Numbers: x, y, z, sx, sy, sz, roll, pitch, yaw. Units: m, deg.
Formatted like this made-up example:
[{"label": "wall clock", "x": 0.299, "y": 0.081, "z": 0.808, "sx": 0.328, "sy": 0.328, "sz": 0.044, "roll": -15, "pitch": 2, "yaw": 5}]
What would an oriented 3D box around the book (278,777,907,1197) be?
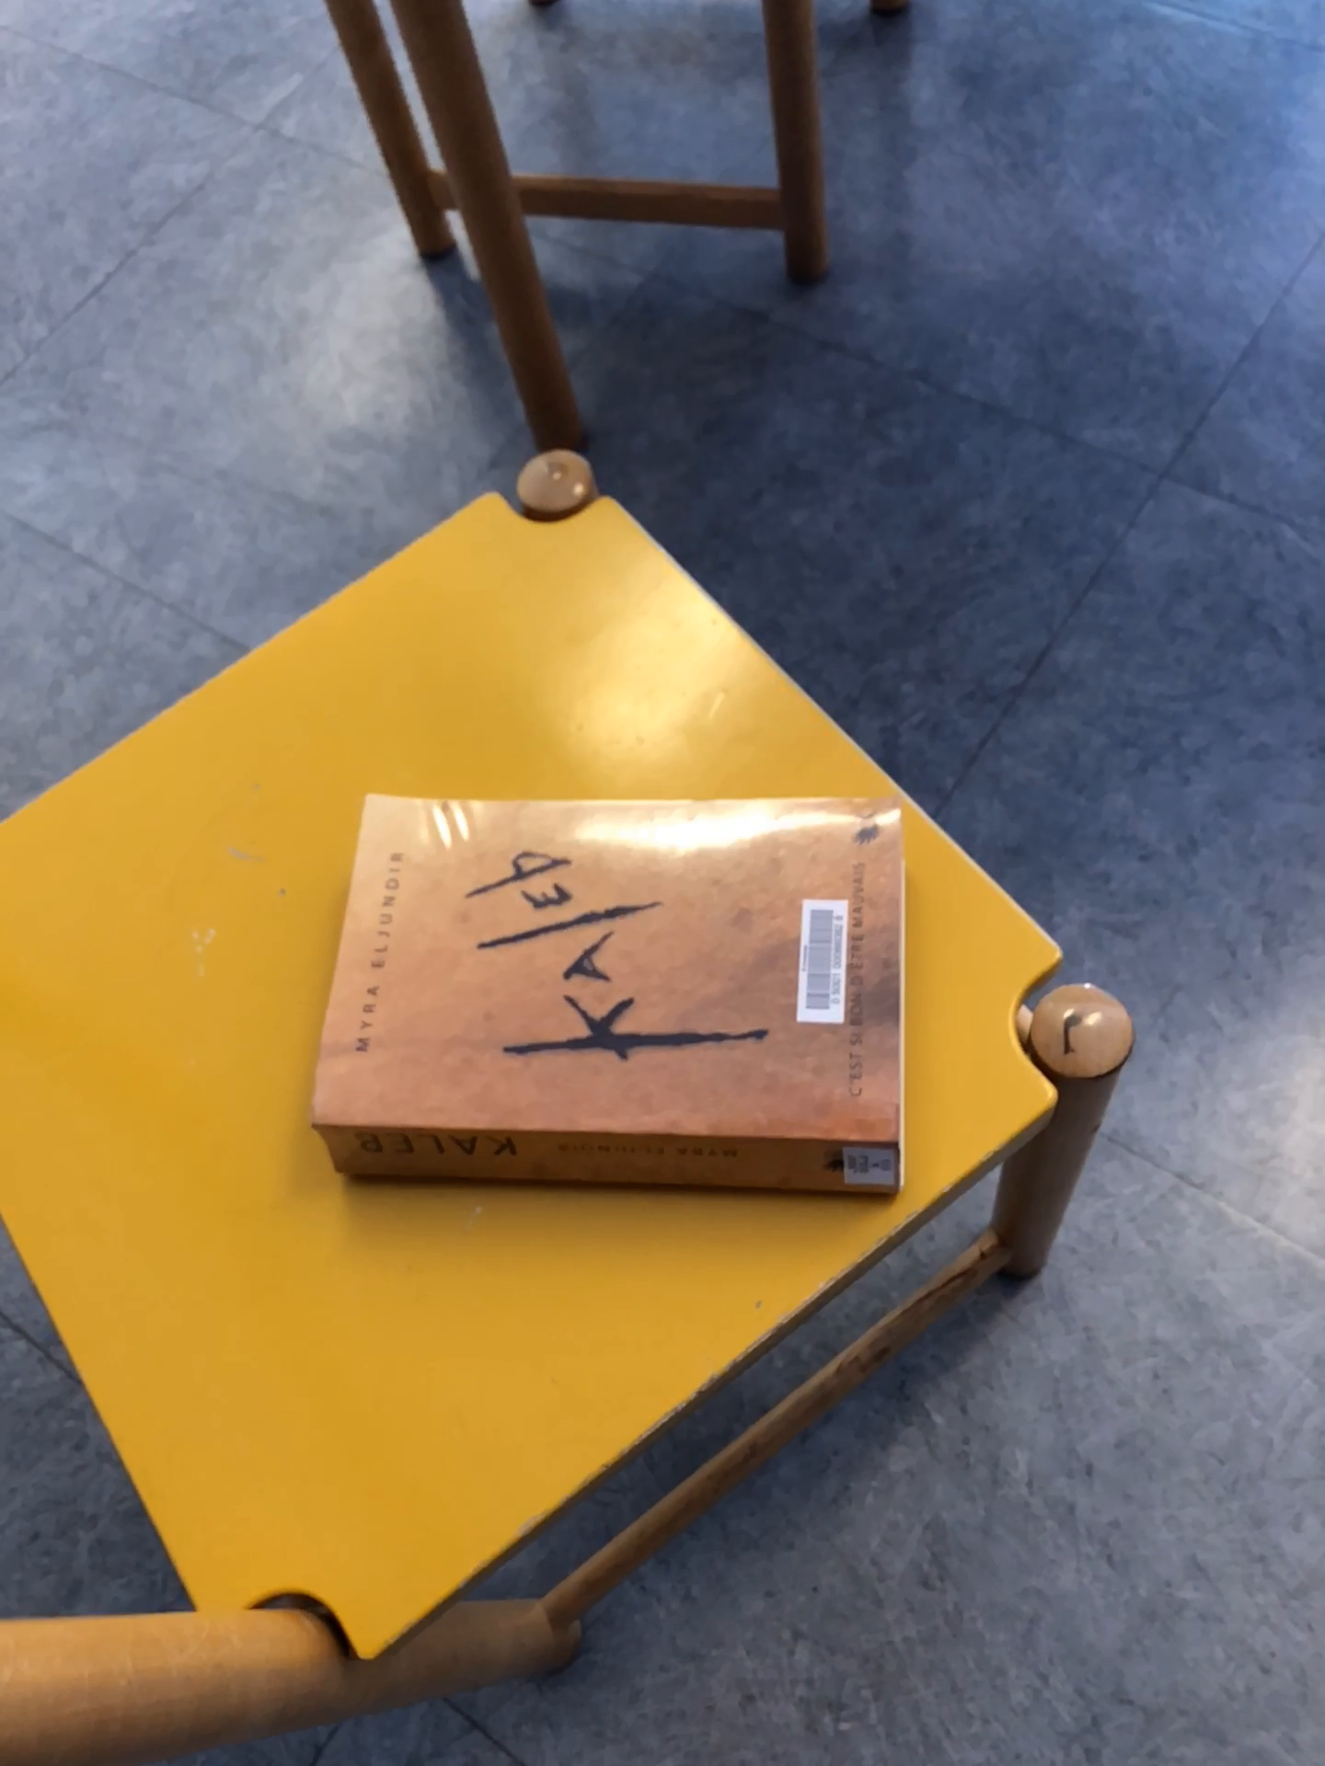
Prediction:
[{"label": "book", "x": -0.020, "y": 0.037, "z": 0.561, "sx": 0.223, "sy": 0.043, "sz": 0.150, "roll": 0, "pitch": 64, "yaw": 10}]
